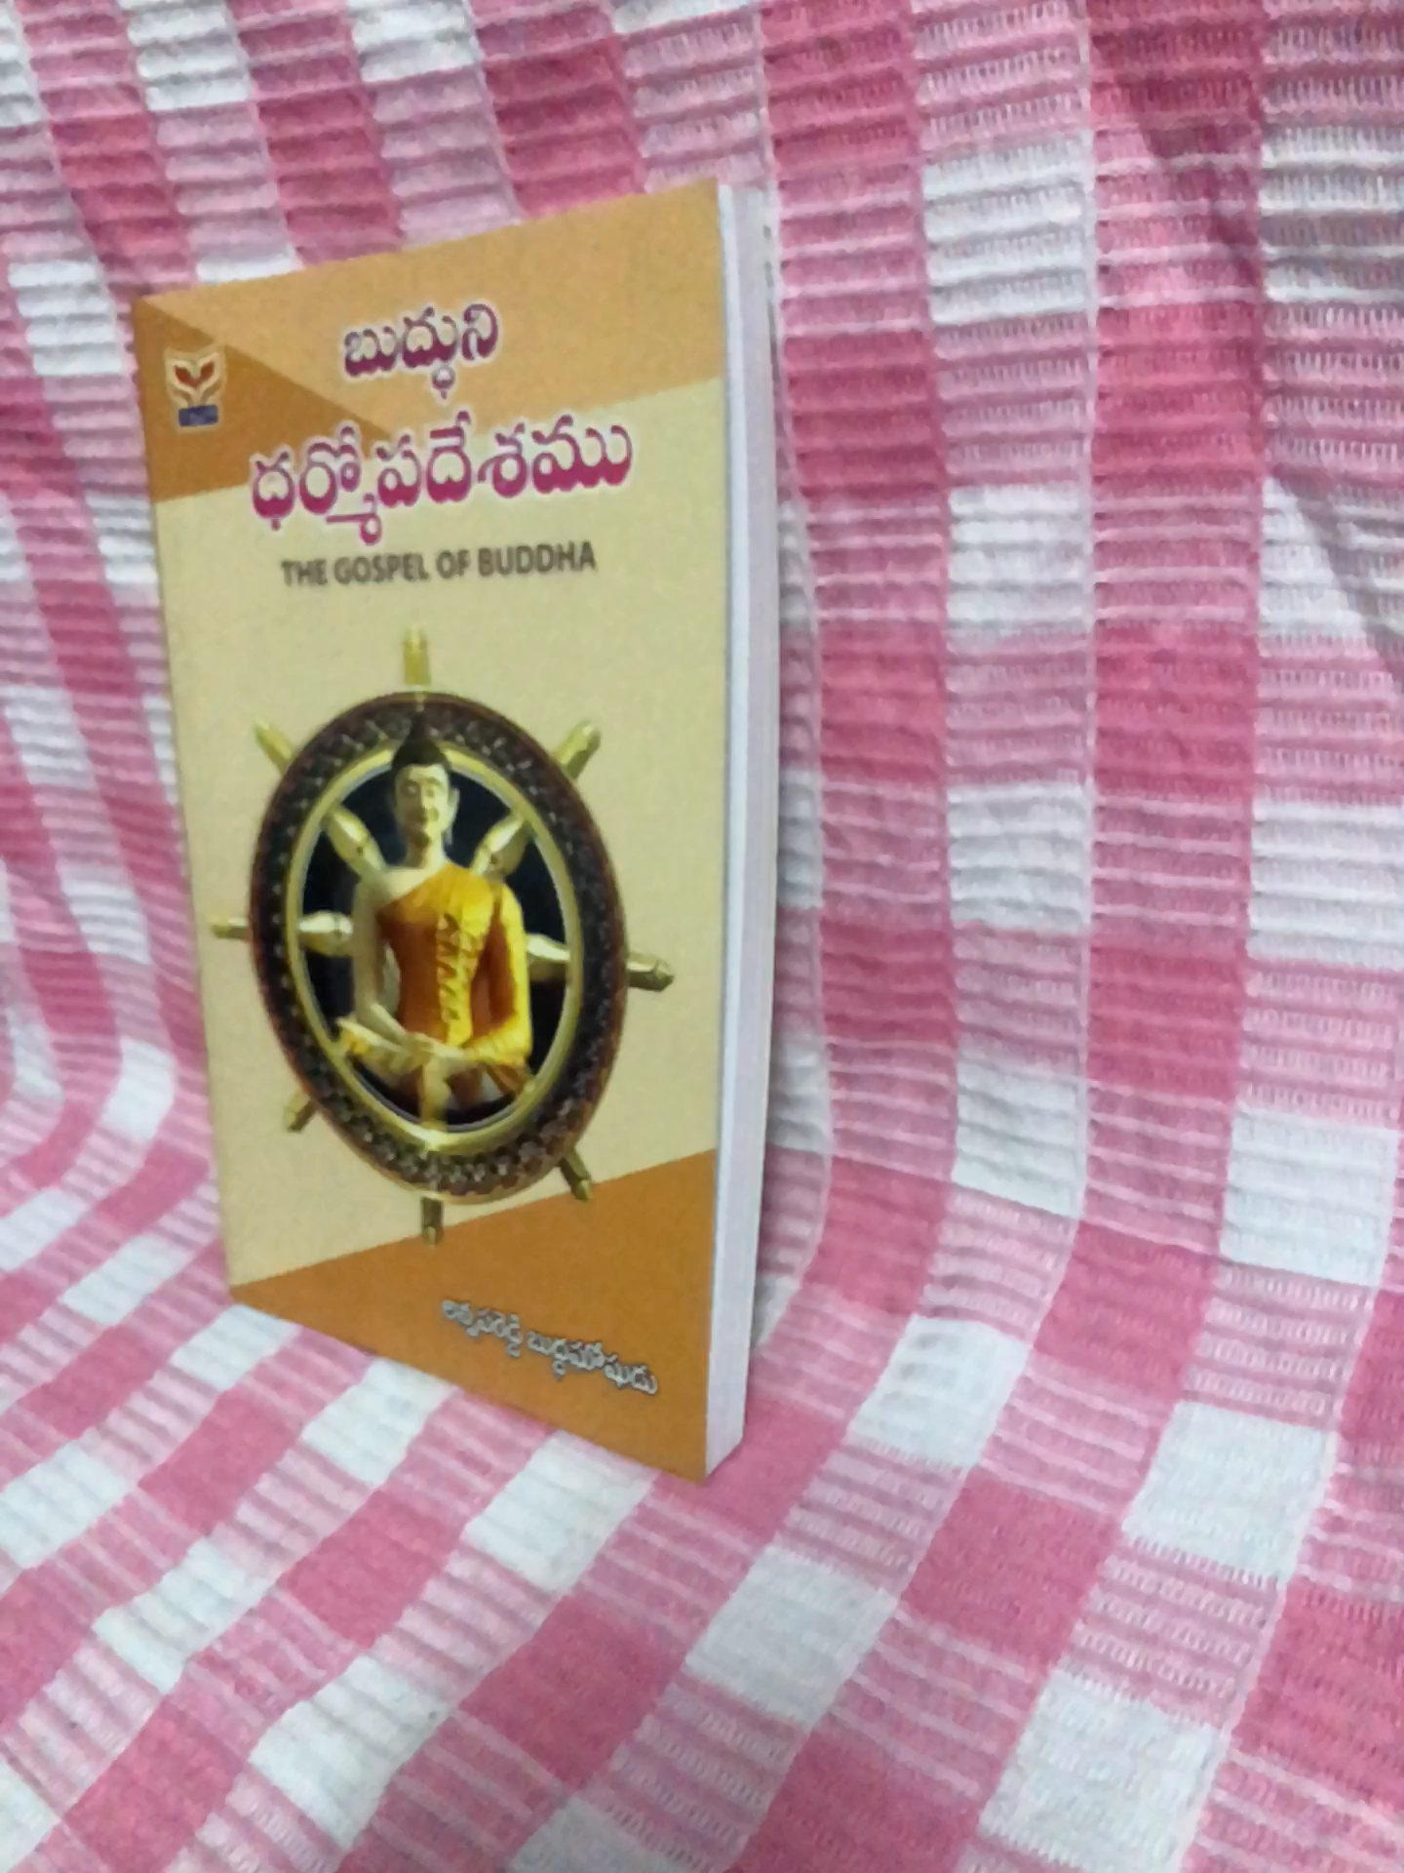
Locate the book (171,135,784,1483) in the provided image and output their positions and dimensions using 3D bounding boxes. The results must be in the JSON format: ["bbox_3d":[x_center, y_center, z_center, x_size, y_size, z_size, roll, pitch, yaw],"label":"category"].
[{"bbox_3d":[-0.048,-0.022,0.296,0.140,0.210,0.020,7,10,39],"label":"book"}]
